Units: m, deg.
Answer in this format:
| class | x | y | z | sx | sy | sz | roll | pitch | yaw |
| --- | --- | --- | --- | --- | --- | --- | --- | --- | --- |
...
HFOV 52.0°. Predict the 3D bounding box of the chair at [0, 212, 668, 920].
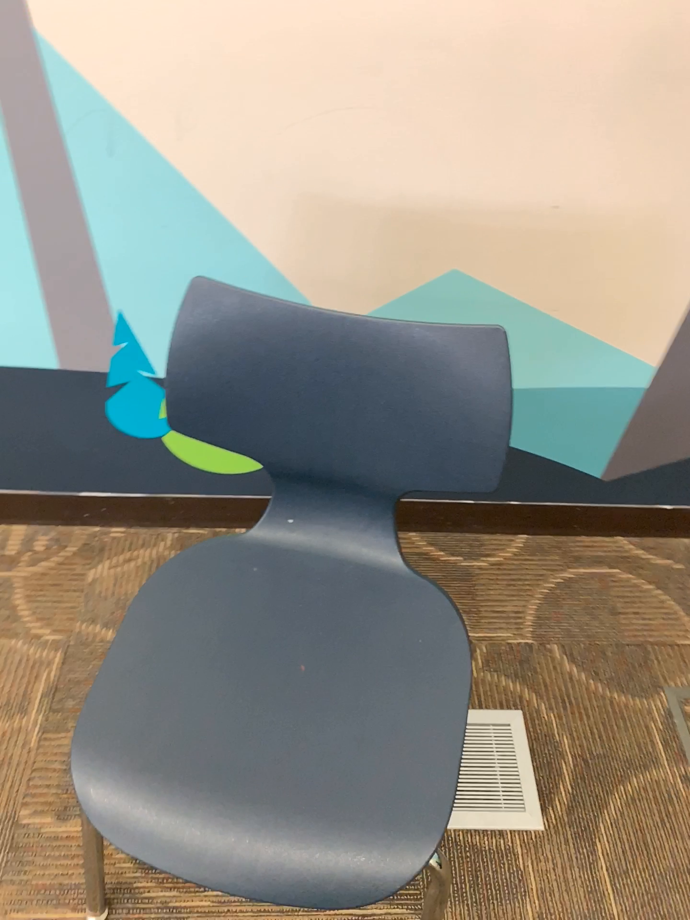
| class | x | y | z | sx | sy | sz | roll | pitch | yaw |
| --- | --- | --- | --- | --- | --- | --- | --- | --- | --- |
| chair | -0.074 | 0.223 | 0.862 | 0.570 | 0.747 | 0.582 | 10 | 46 | 6 |
